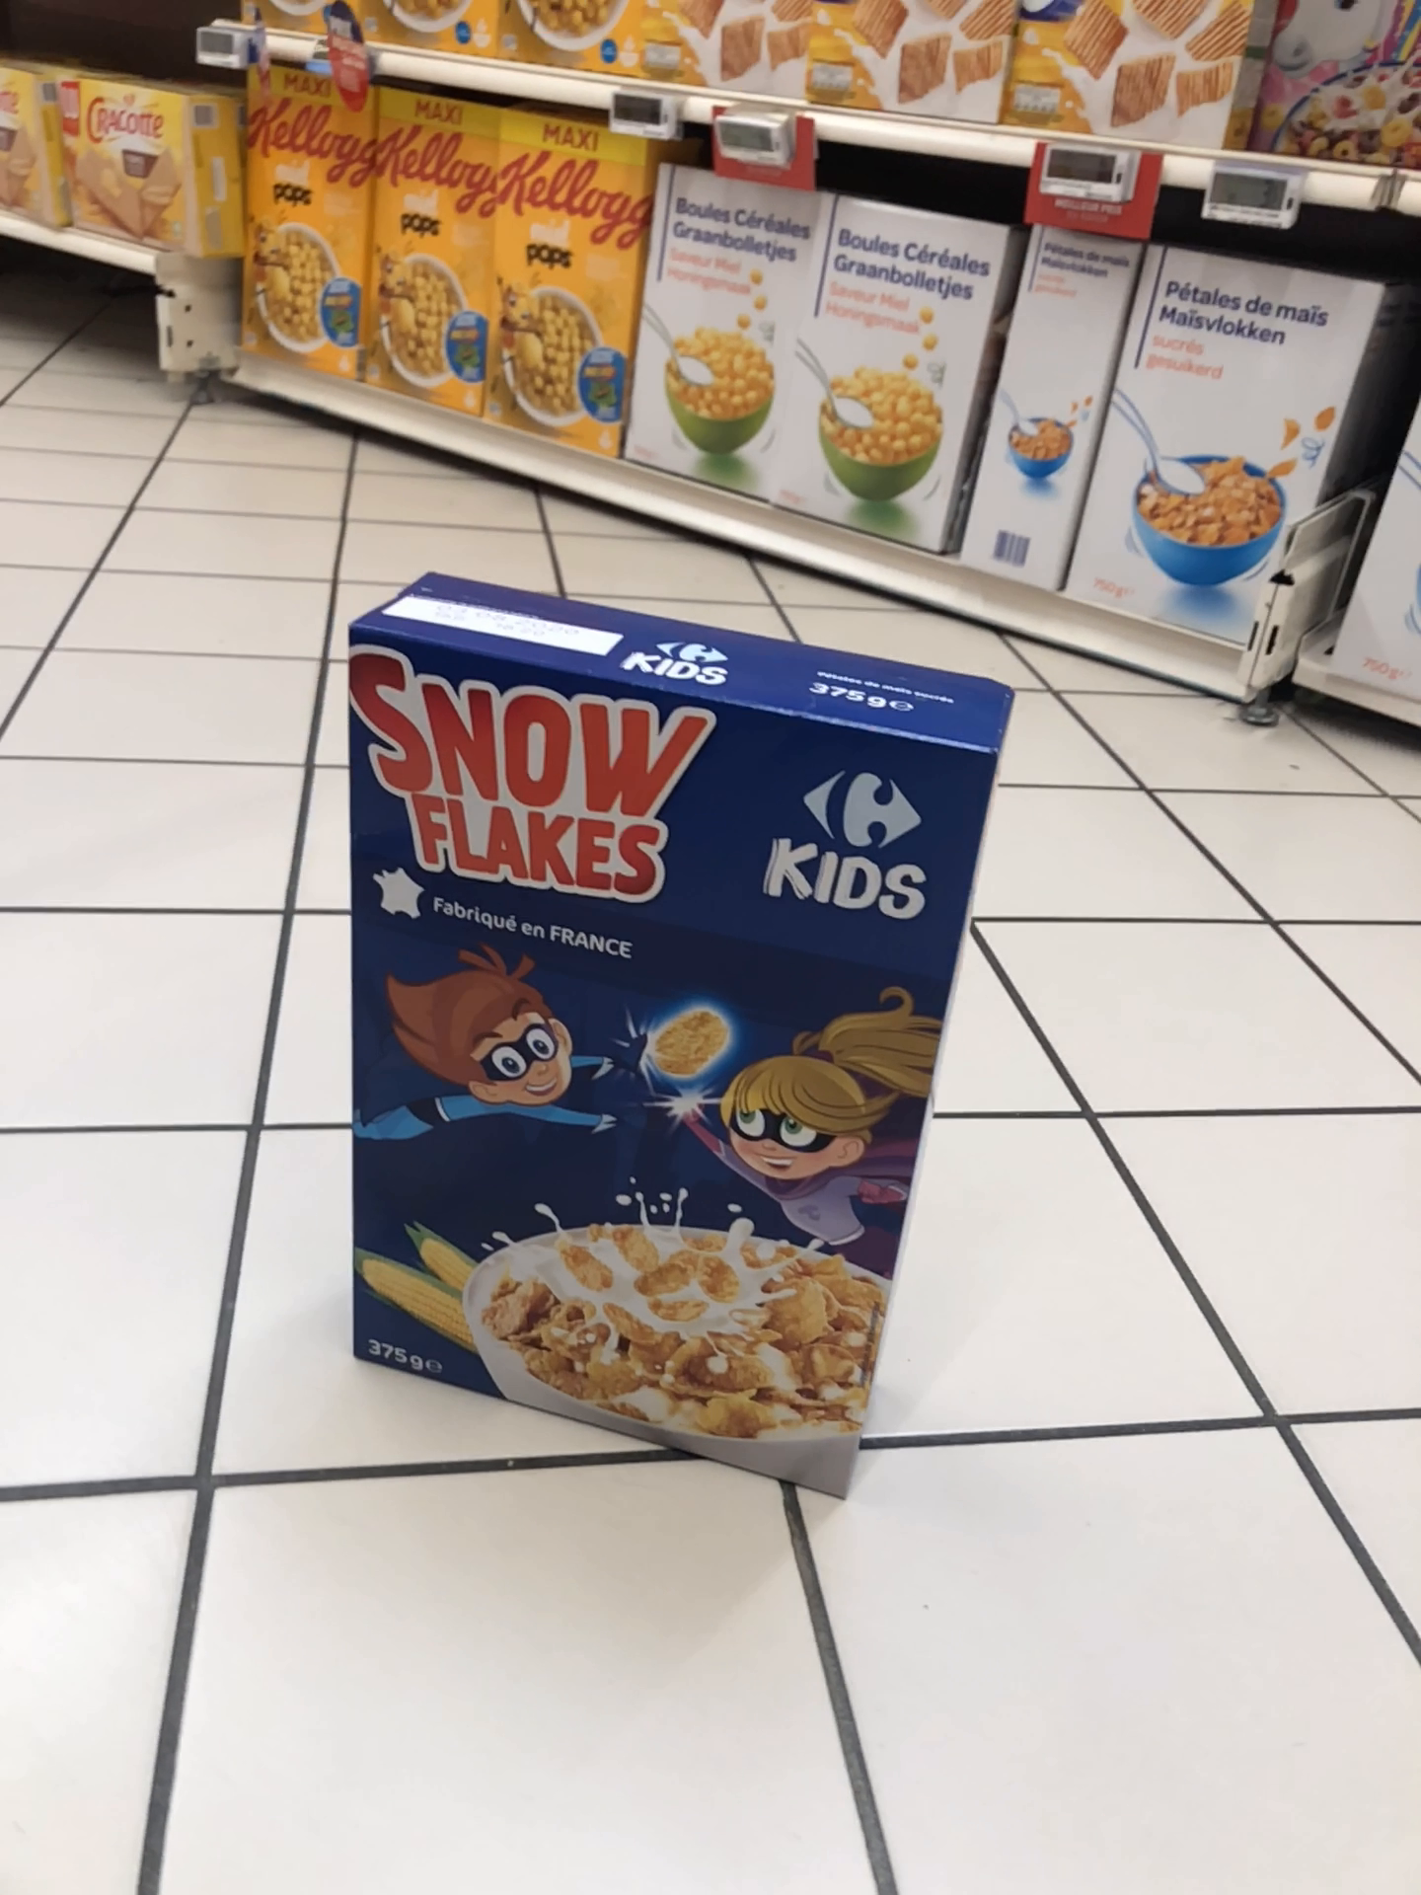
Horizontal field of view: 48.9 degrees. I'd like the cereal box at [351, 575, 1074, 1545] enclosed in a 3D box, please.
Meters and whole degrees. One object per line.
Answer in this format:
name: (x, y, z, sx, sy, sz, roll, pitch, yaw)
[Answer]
cereal box: (-0.010, 0.043, 0.530, 0.200, 0.288, 0.081, 13, 29, 11)
